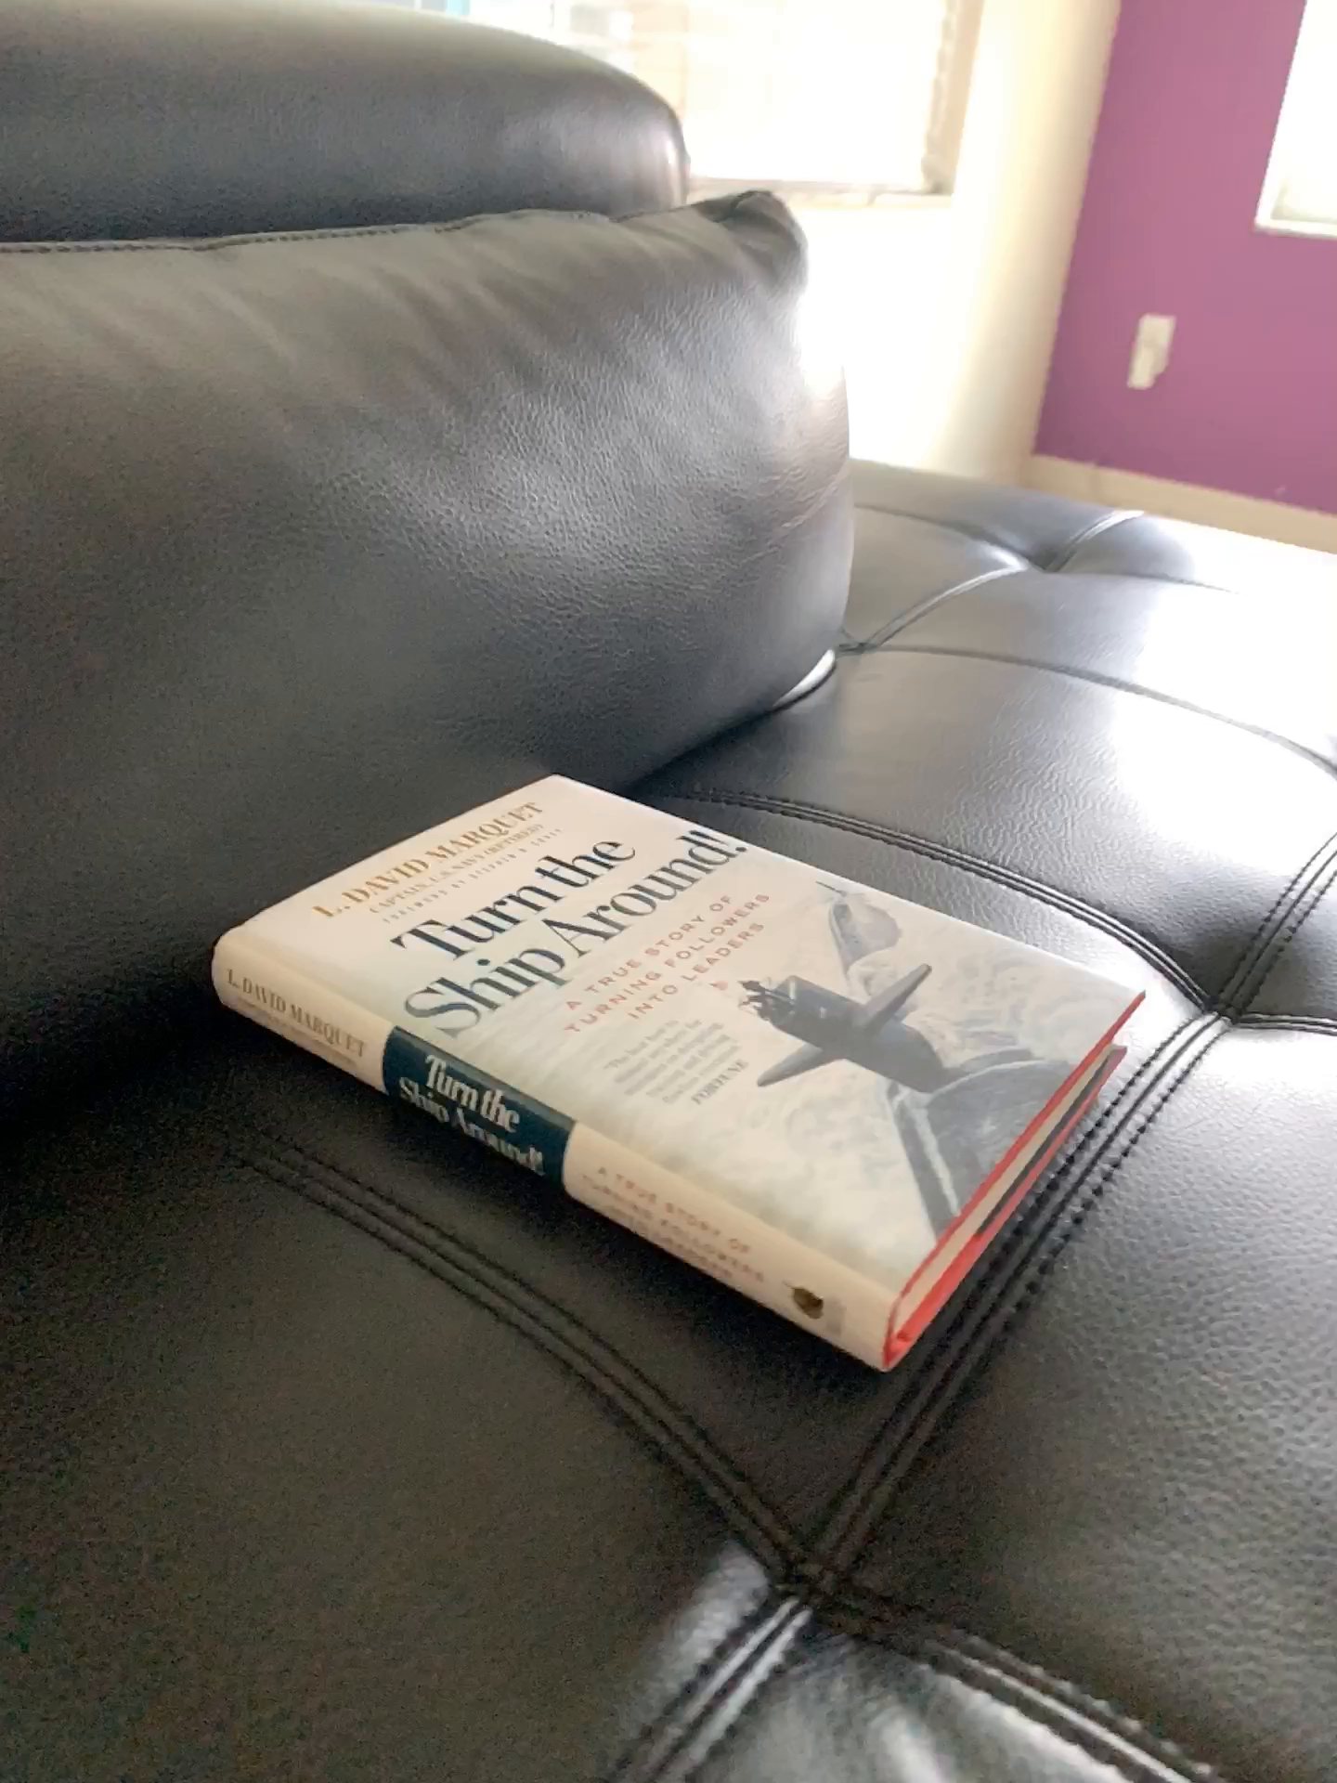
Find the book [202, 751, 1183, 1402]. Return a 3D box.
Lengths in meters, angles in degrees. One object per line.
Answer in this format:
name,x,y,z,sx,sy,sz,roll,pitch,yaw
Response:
book,0.005,0.027,0.387,0.226,0.029,0.153,22,34,30
